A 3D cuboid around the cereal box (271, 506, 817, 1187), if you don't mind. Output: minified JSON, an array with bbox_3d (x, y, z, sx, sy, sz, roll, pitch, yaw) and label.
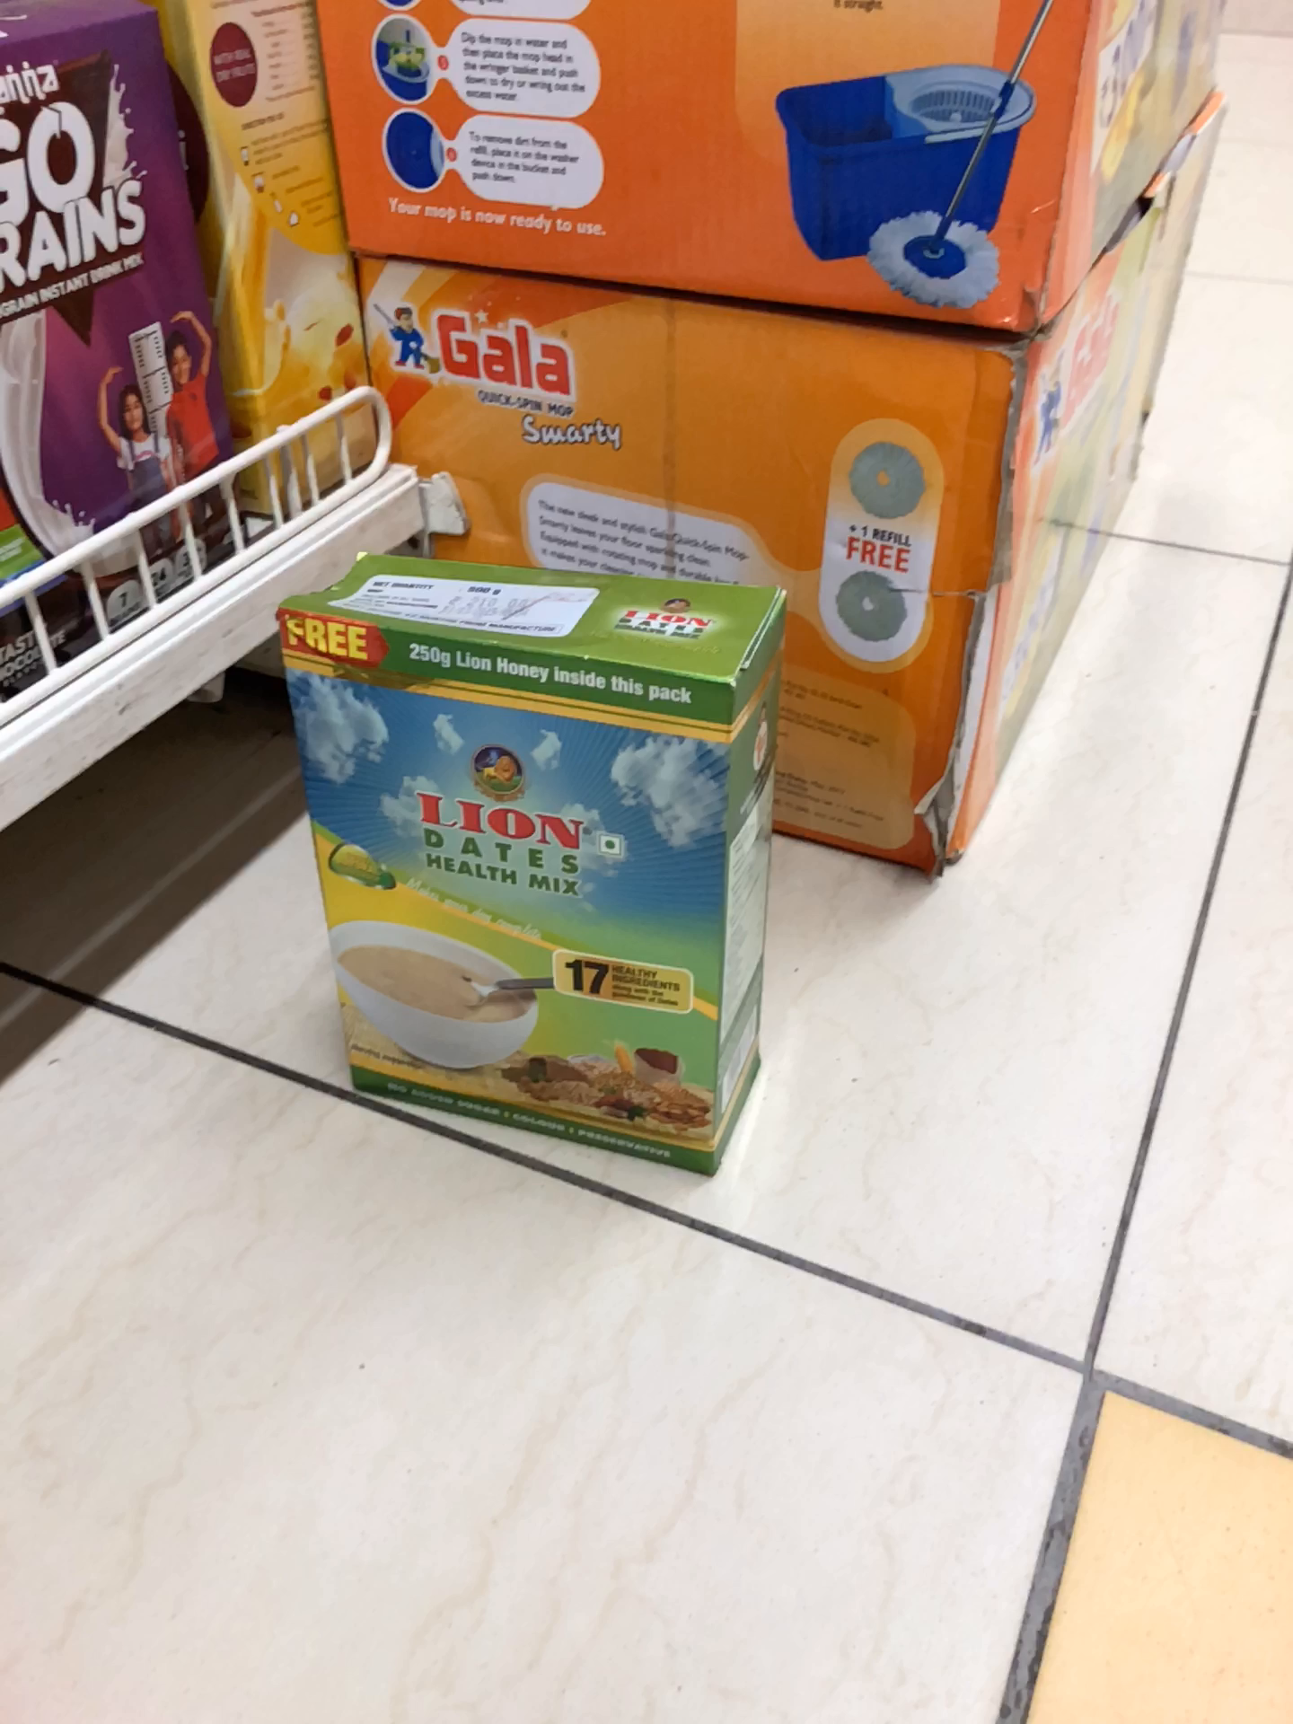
[{"bbox_3d":[-0.031,0.000,0.526,0.160,0.228,0.070,10,39,13],"label":"cereal box"}]
